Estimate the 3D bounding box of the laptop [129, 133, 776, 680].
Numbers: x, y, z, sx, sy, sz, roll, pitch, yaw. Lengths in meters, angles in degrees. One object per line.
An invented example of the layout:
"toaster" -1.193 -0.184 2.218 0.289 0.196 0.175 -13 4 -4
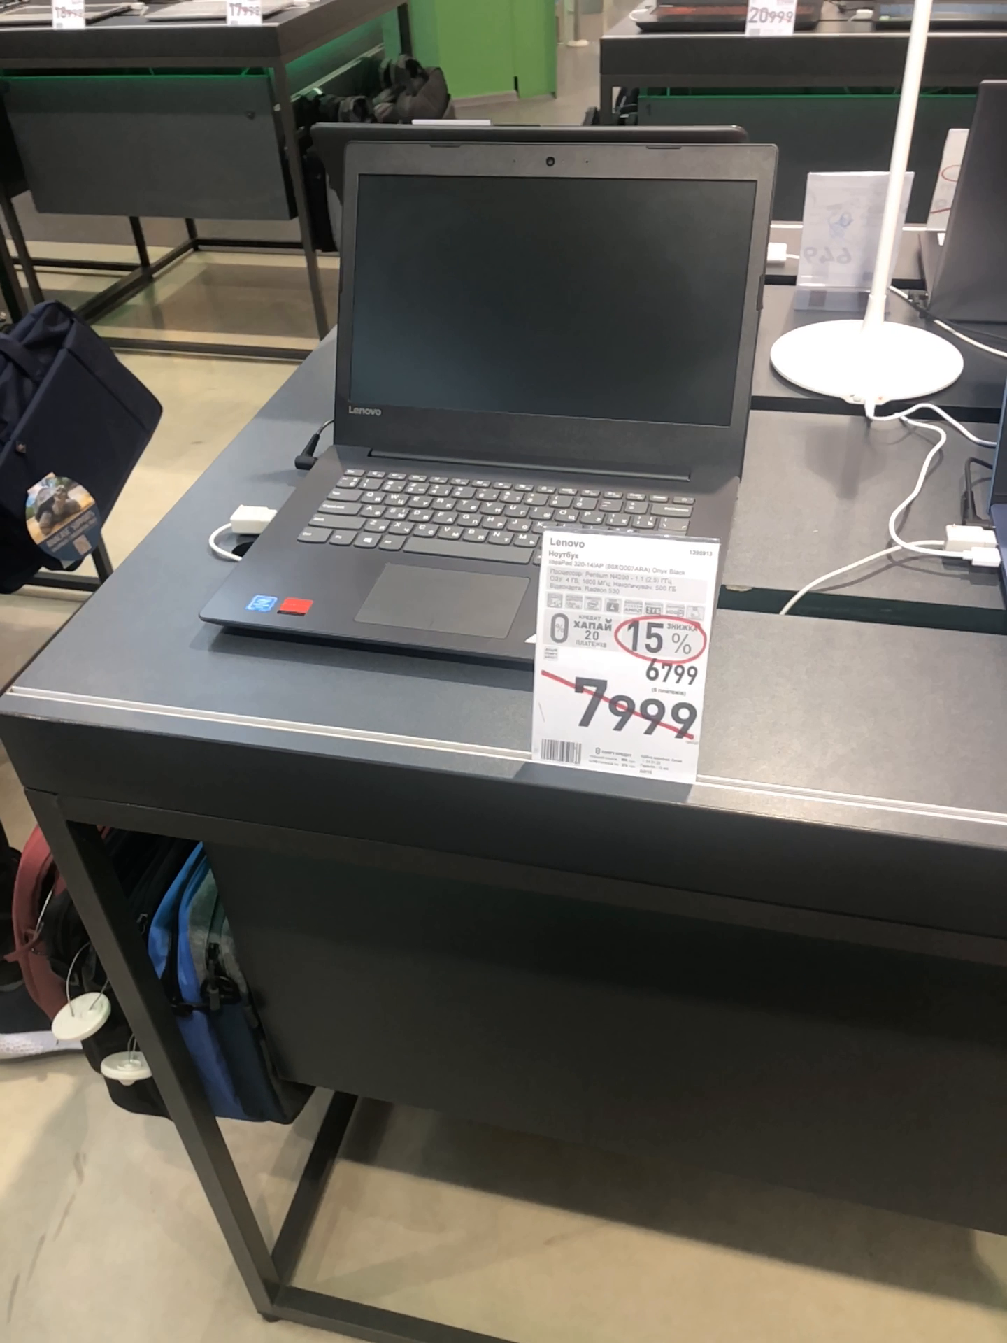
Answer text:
"laptop" 0.000 -0.213 0.780 0.330 0.205 0.363 7 41 13
